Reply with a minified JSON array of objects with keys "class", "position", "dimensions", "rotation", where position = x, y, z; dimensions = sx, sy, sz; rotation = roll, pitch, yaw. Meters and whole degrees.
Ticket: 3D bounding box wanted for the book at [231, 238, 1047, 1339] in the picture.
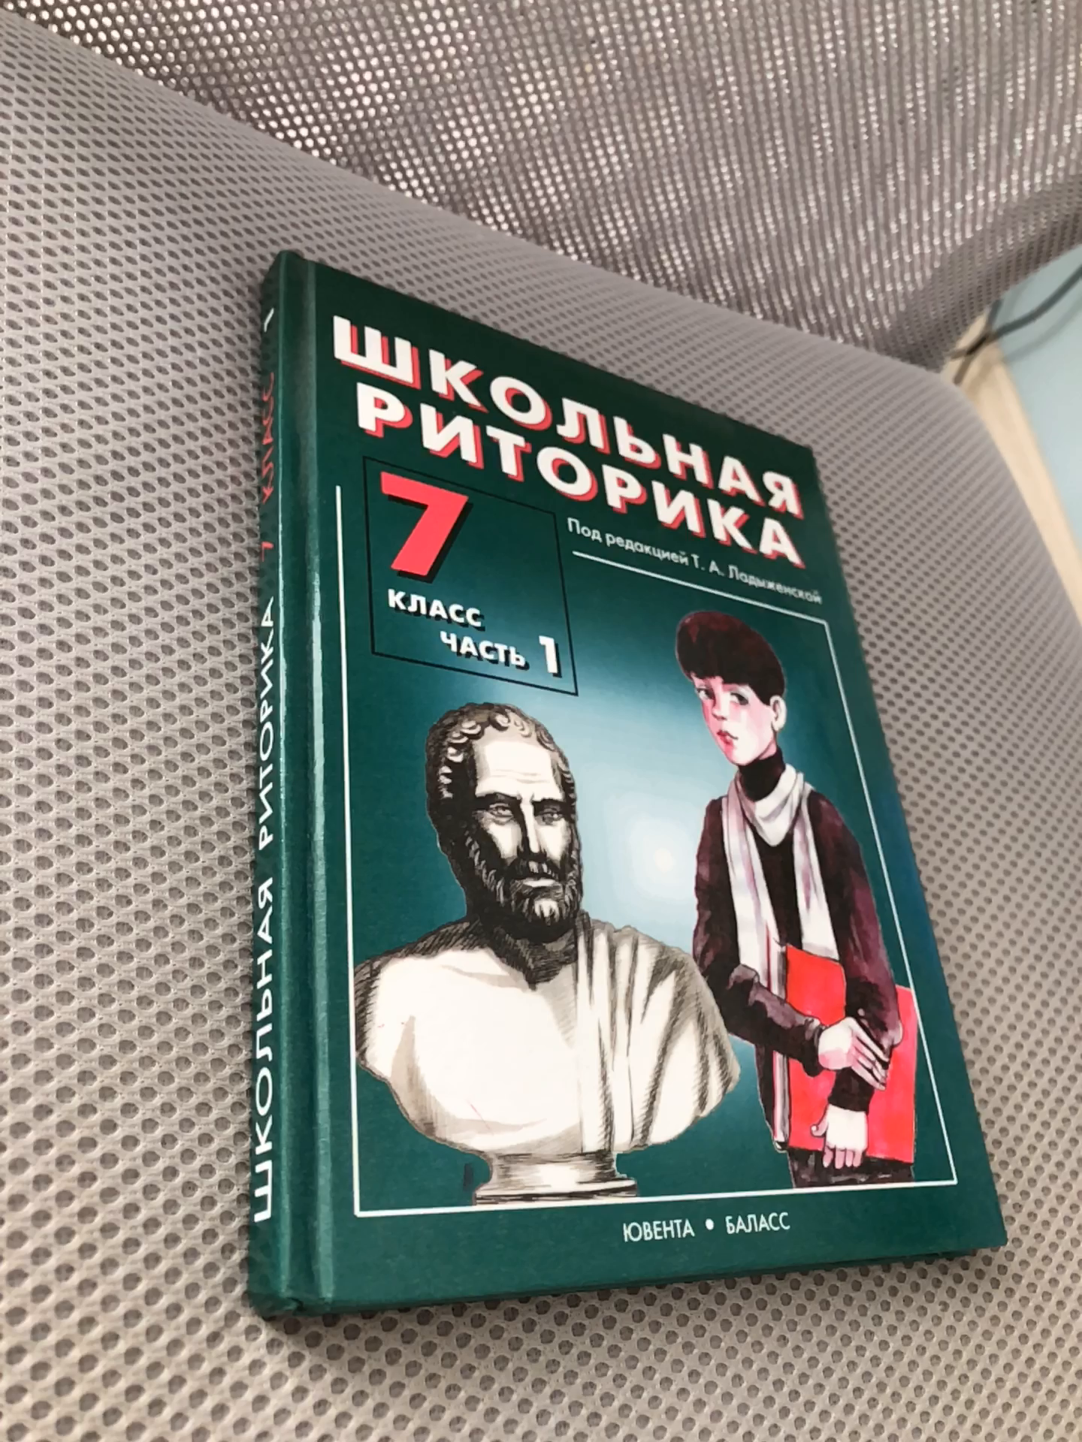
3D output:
[{"class":"book","position":[0.019,0.010,0.268],"dimensions":[0.167,0.030,0.211],"rotation":[11,59,-32]}]
